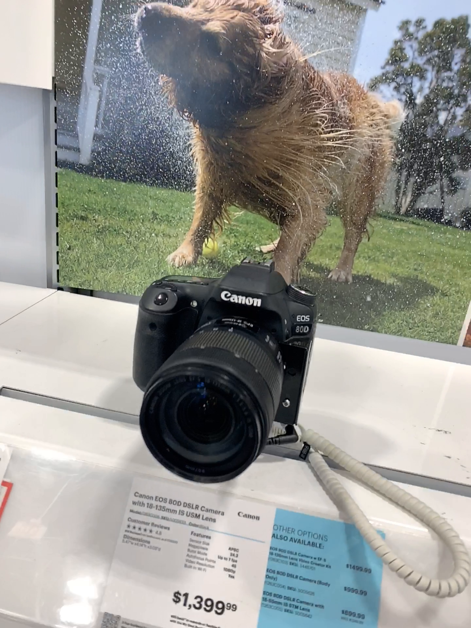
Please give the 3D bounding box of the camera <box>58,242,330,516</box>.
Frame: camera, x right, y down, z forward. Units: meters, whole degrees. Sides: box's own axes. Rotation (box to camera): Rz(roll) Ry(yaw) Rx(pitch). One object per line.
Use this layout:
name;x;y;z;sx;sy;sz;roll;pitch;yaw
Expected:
camera;-0.014;0.026;0.332;0.140;0.100;0.161;9;22;7
